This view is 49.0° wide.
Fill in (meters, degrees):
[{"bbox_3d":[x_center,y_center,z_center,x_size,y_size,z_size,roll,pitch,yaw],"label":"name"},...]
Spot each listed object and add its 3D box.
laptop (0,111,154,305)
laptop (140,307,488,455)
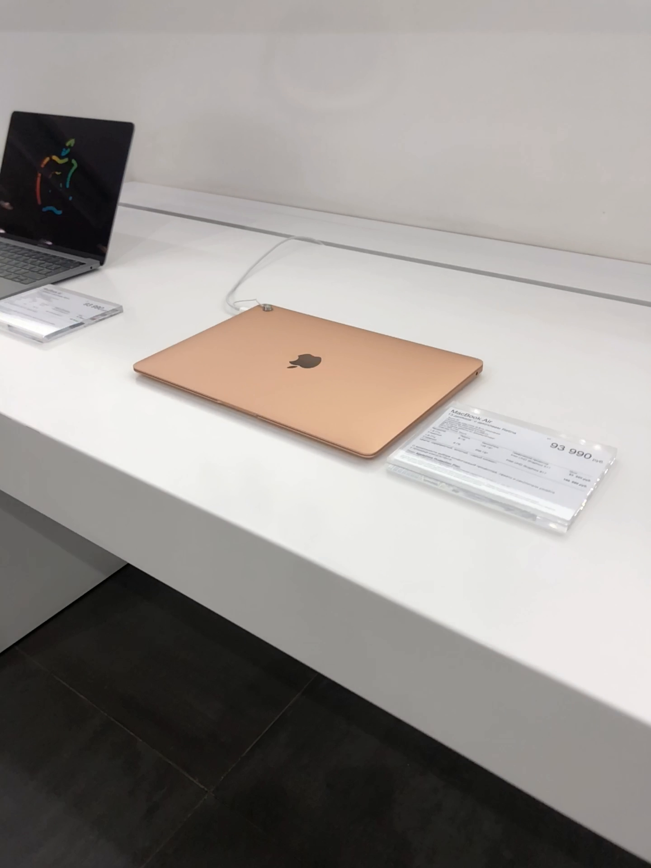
[{"bbox_3d":[-0.486,-0.353,1.053,0.303,0.180,0.312,19,37,32],"label":"laptop"},{"bbox_3d":[-0.014,-0.069,0.730,0.294,0.005,0.202,19,37,32],"label":"laptop"}]
